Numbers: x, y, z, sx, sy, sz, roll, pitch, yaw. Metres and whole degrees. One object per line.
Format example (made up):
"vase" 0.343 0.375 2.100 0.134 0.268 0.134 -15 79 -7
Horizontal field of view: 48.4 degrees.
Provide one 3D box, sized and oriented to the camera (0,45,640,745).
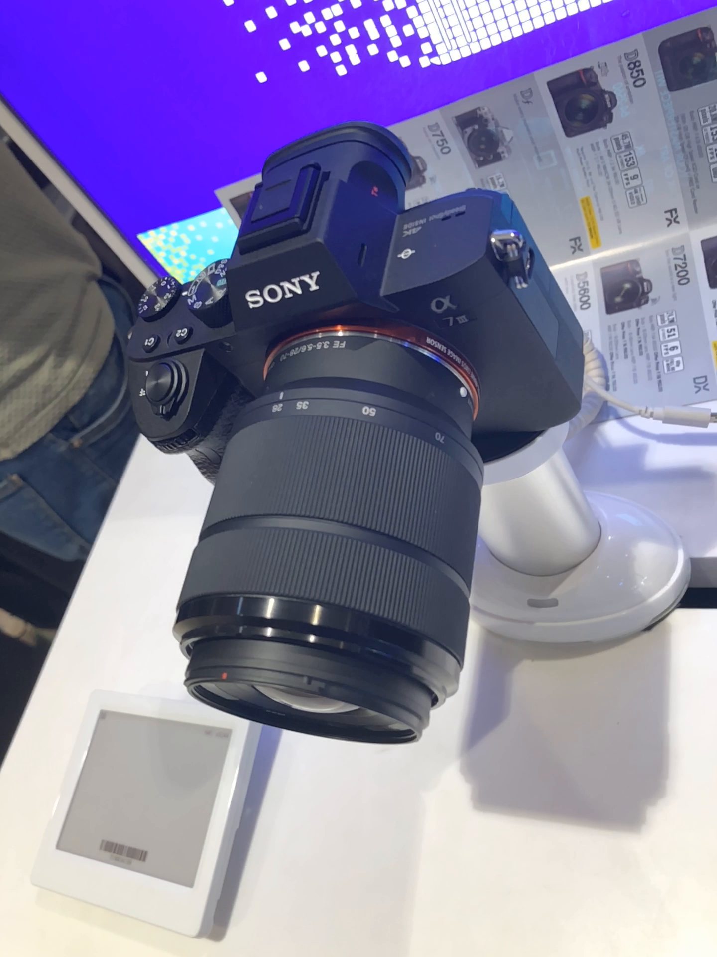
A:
"camera" 0.000 -0.009 0.216 0.120 0.109 0.128 -9 54 26
